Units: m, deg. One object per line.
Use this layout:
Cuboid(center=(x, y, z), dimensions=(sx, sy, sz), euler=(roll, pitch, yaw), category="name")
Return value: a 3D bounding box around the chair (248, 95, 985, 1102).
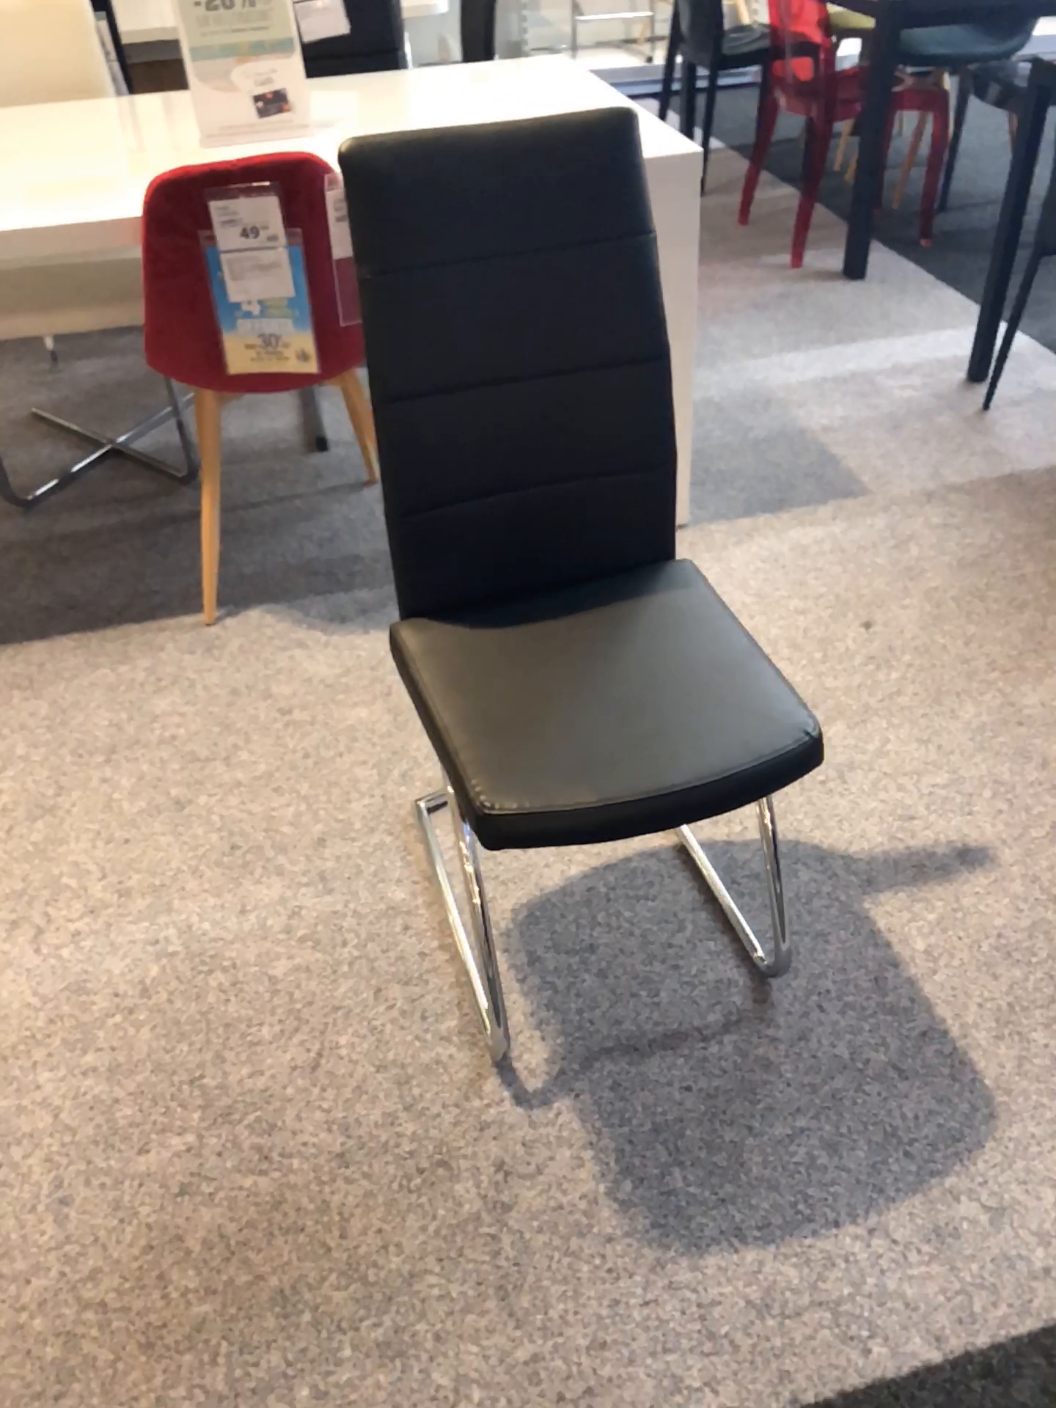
Cuboid(center=(0.049, -0.113, 1.323), dimensions=(0.491, 0.905, 0.562), euler=(-13, 40, -13), category="chair")
